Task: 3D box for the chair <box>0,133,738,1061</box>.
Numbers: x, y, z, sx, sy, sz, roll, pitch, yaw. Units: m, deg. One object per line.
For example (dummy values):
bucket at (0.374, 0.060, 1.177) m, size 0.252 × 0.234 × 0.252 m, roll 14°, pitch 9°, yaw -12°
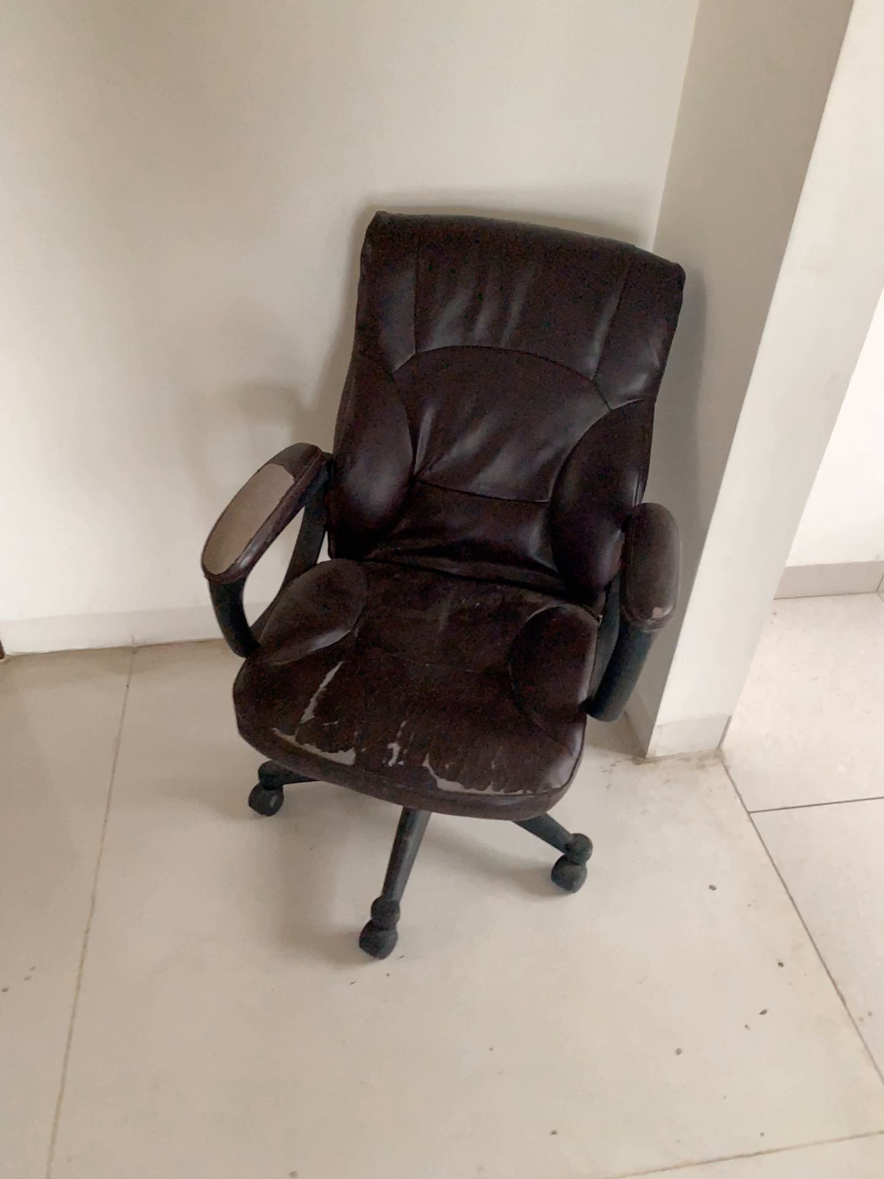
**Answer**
chair at (-0.040, -0.014, 1.341) m, size 0.700 × 0.996 × 0.793 m, roll 11°, pitch 40°, yaw 10°
